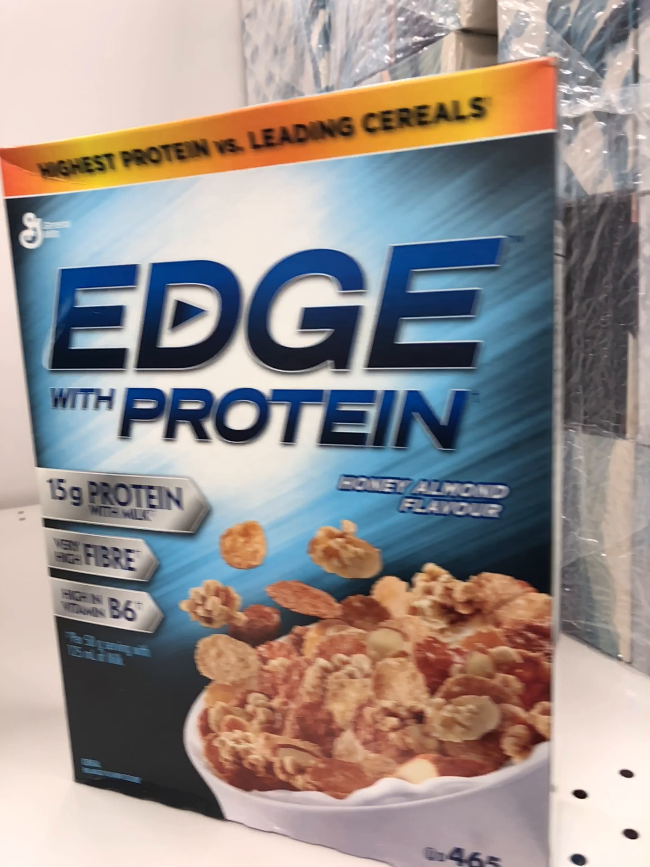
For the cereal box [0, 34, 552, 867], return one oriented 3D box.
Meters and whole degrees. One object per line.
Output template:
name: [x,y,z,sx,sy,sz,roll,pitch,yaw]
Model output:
cereal box: [-0.019,0.023,0.279,0.200,0.279,0.050,1,11,22]
